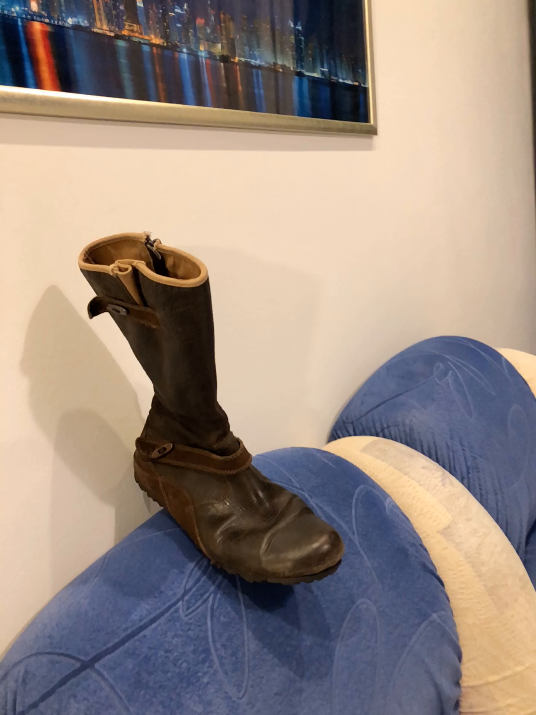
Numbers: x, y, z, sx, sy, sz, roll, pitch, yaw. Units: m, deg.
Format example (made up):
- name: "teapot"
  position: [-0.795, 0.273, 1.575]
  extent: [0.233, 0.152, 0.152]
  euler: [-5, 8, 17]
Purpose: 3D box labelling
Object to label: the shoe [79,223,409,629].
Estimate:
- name: "shoe"
  position: [-0.044, 0.046, 0.555]
  extent: [0.271, 0.278, 0.110]
  euler: [22, 27, 29]
